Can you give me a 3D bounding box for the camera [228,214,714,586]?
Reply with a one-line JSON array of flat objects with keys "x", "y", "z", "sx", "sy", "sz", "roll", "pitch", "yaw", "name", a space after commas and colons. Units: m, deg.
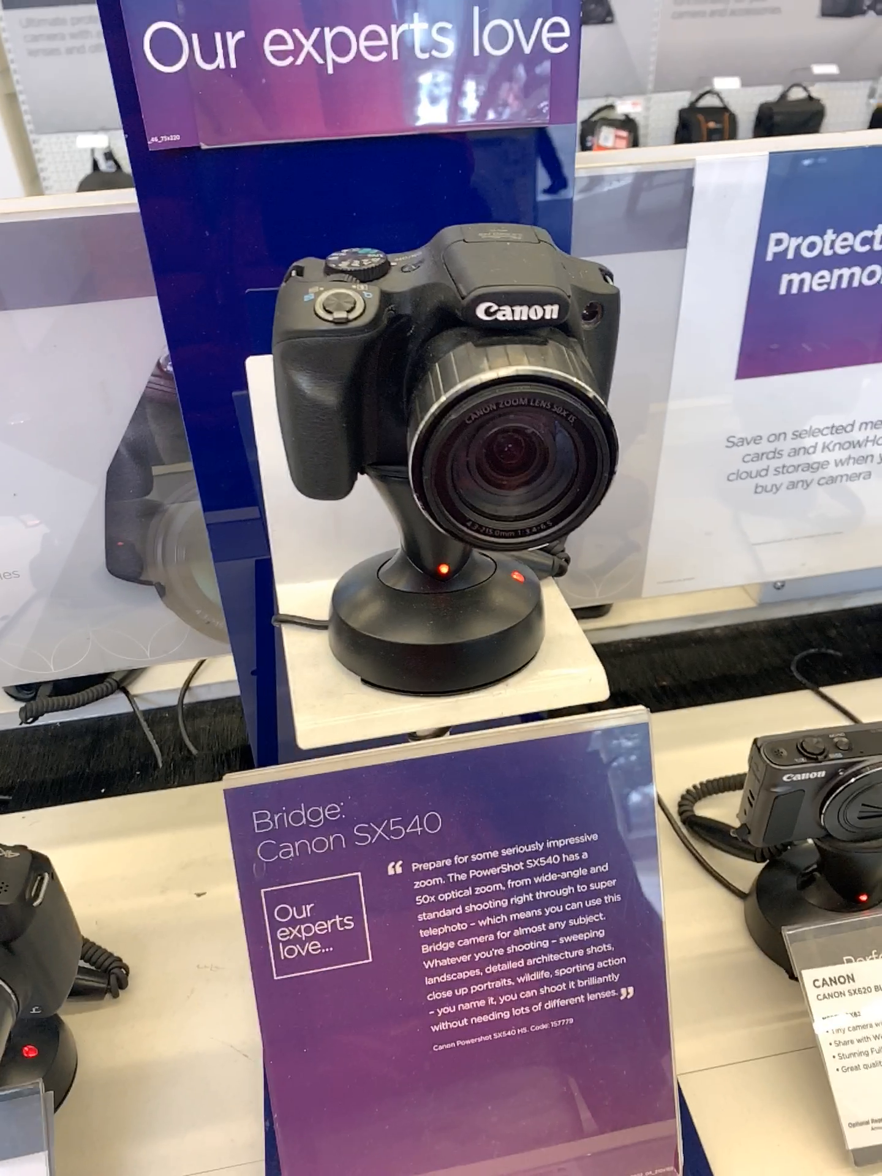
[{"x": 0.005, "y": -0.065, "z": 0.289, "sx": 0.120, "sy": 0.069, "sz": 0.111, "roll": -4, "pitch": 37, "yaw": -2, "name": "camera"}]
